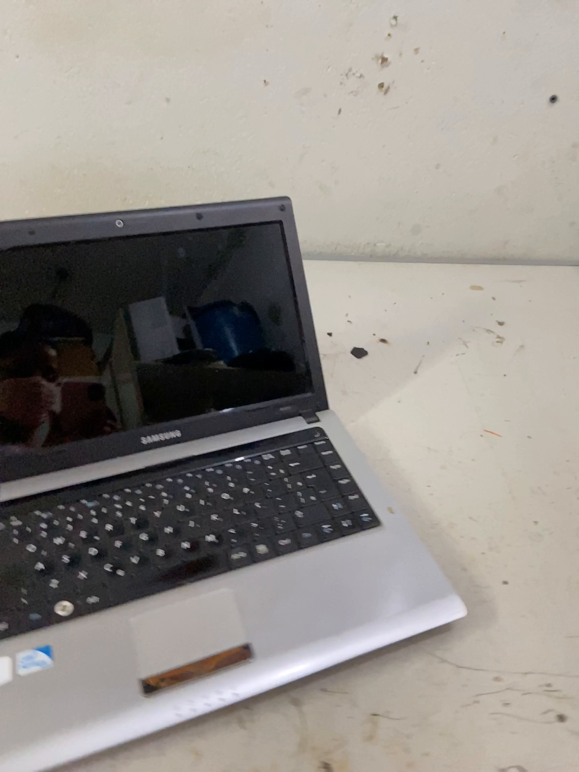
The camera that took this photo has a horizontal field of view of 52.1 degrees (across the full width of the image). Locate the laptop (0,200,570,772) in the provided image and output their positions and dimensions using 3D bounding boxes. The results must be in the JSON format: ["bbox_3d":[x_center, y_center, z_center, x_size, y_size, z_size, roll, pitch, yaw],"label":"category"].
[{"bbox_3d":[-0.075,0.018,0.449,0.335,0.172,0.363,-11,38,-18],"label":"laptop"}]
